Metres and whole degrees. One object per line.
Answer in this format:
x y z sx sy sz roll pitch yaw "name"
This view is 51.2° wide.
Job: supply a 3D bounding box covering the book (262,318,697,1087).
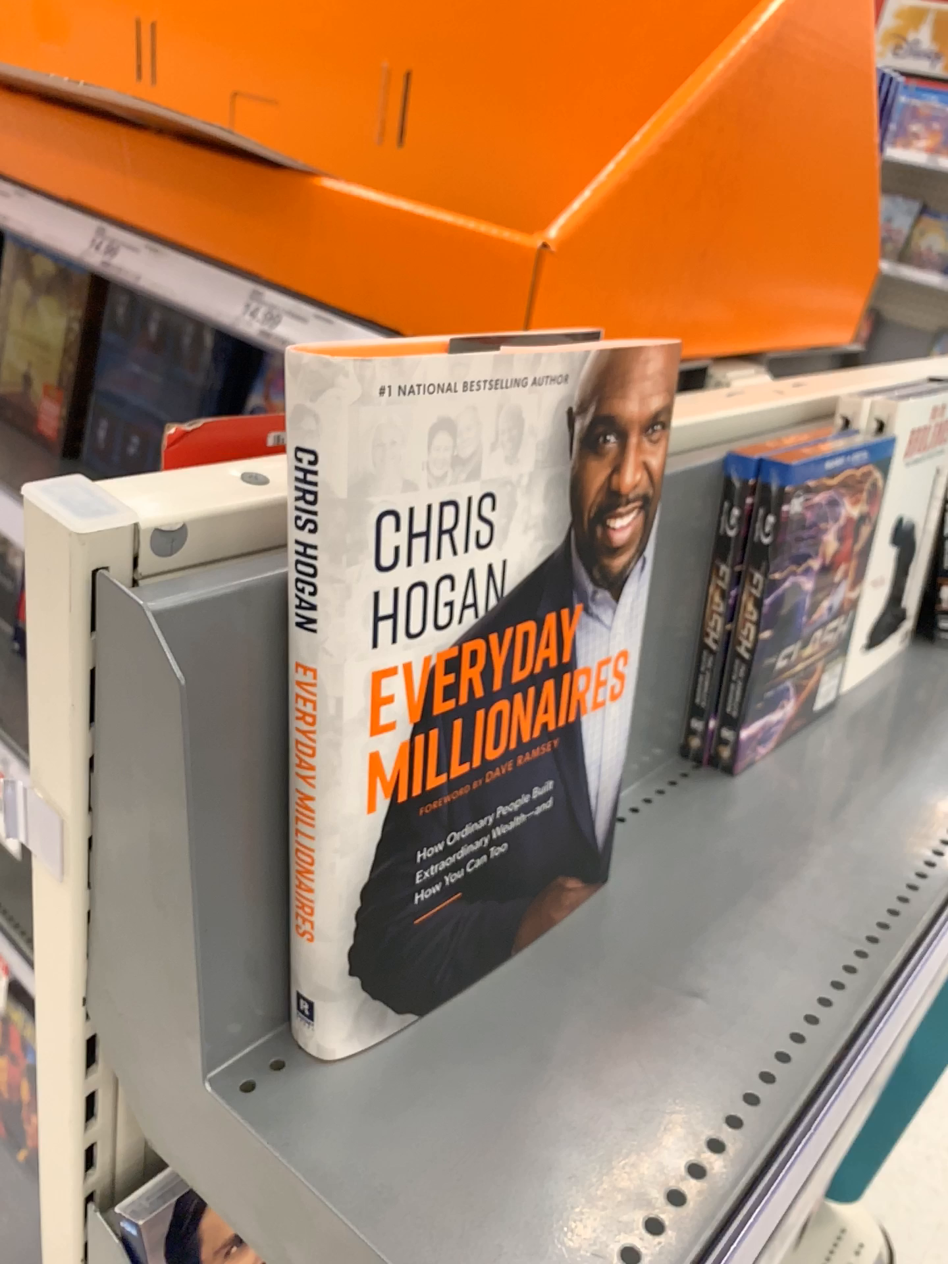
0.003 0.017 0.354 0.037 0.241 0.160 22 28 38 "book"
